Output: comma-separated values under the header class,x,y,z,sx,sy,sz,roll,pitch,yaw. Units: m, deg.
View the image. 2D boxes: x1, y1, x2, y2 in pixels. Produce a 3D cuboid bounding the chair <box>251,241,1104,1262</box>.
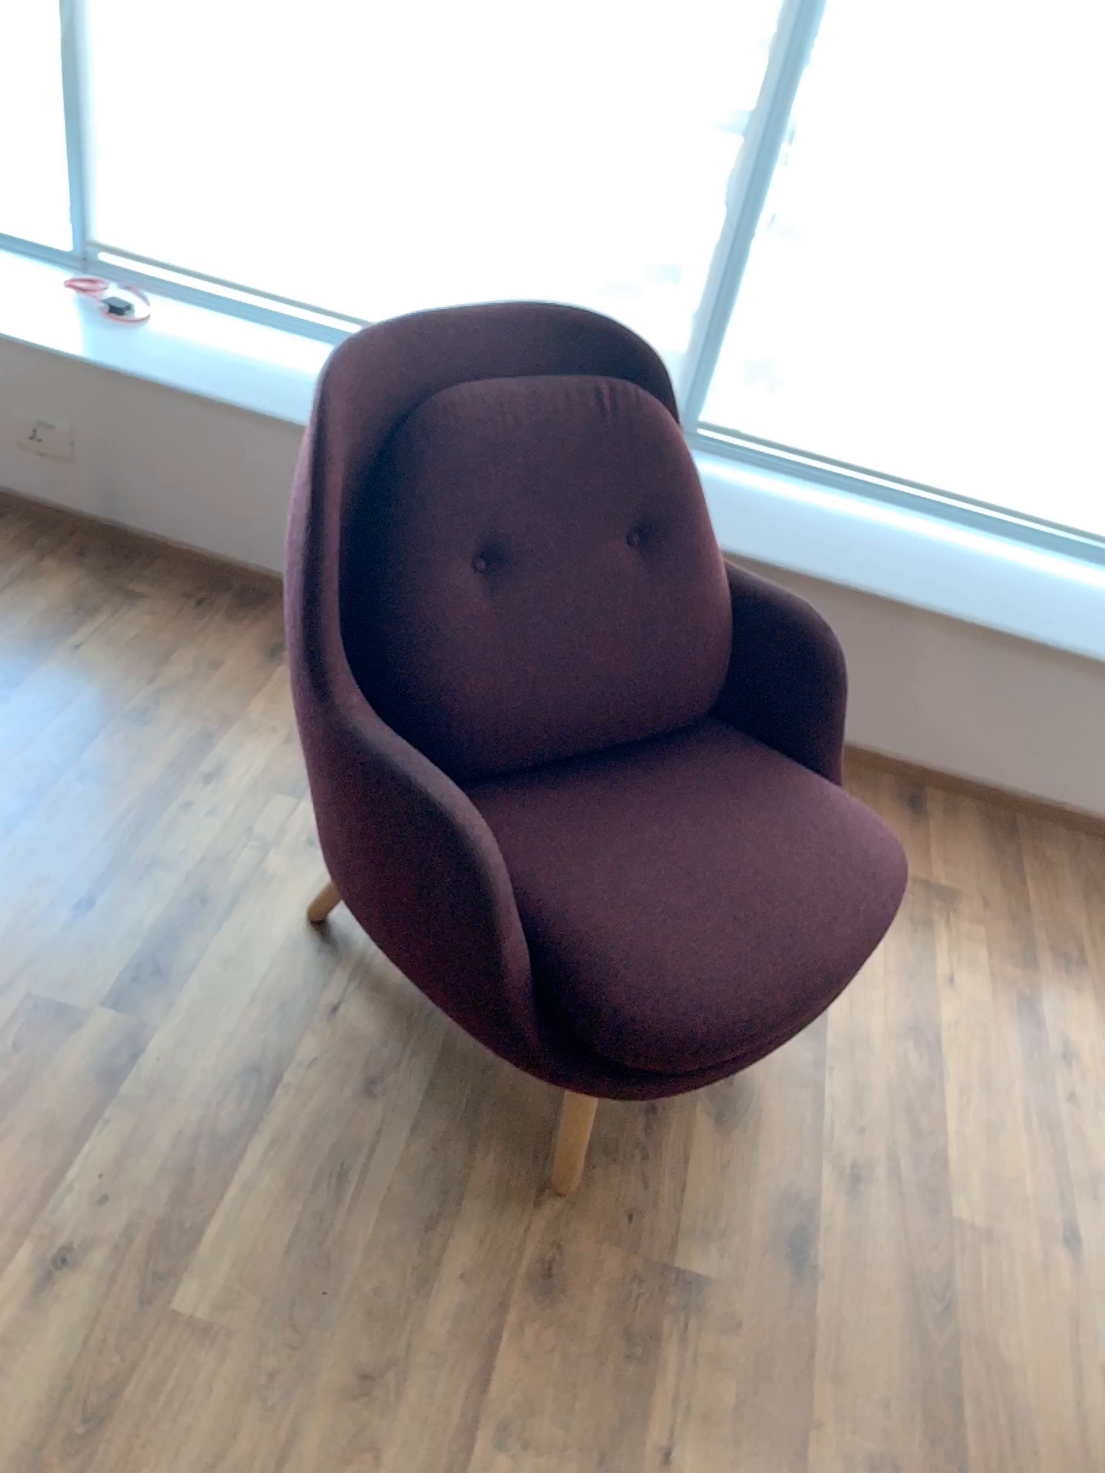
class,x,y,z,sx,sy,sz,roll,pitch,yaw
chair,0.107,-0.018,1.440,0.693,0.932,0.632,-23,51,-38
